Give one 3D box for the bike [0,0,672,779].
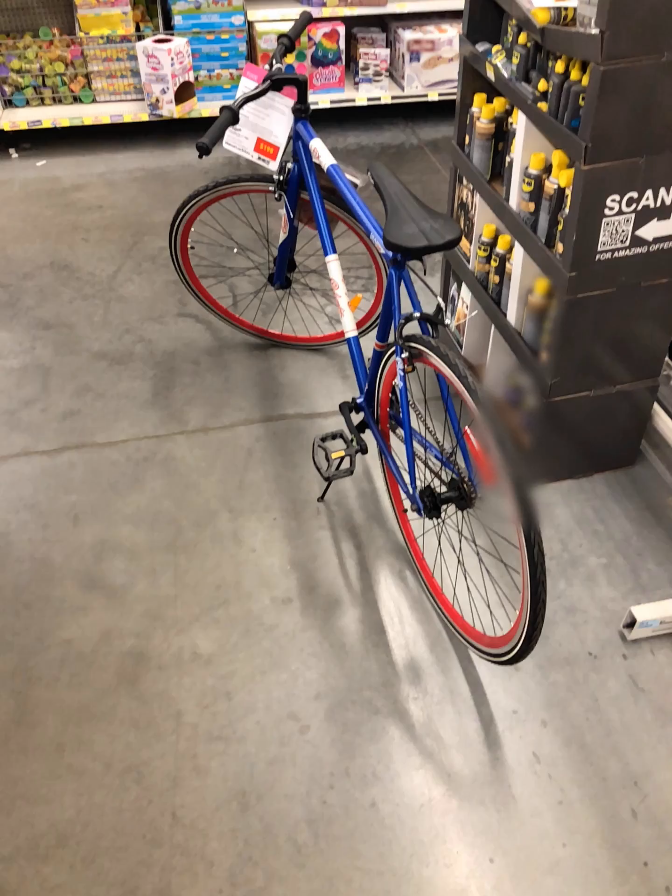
[{"bbox_3d":[-0.078,-0.278,1.540,0.602,0.937,1.498,-23,51,-21],"label":"bike"}]
